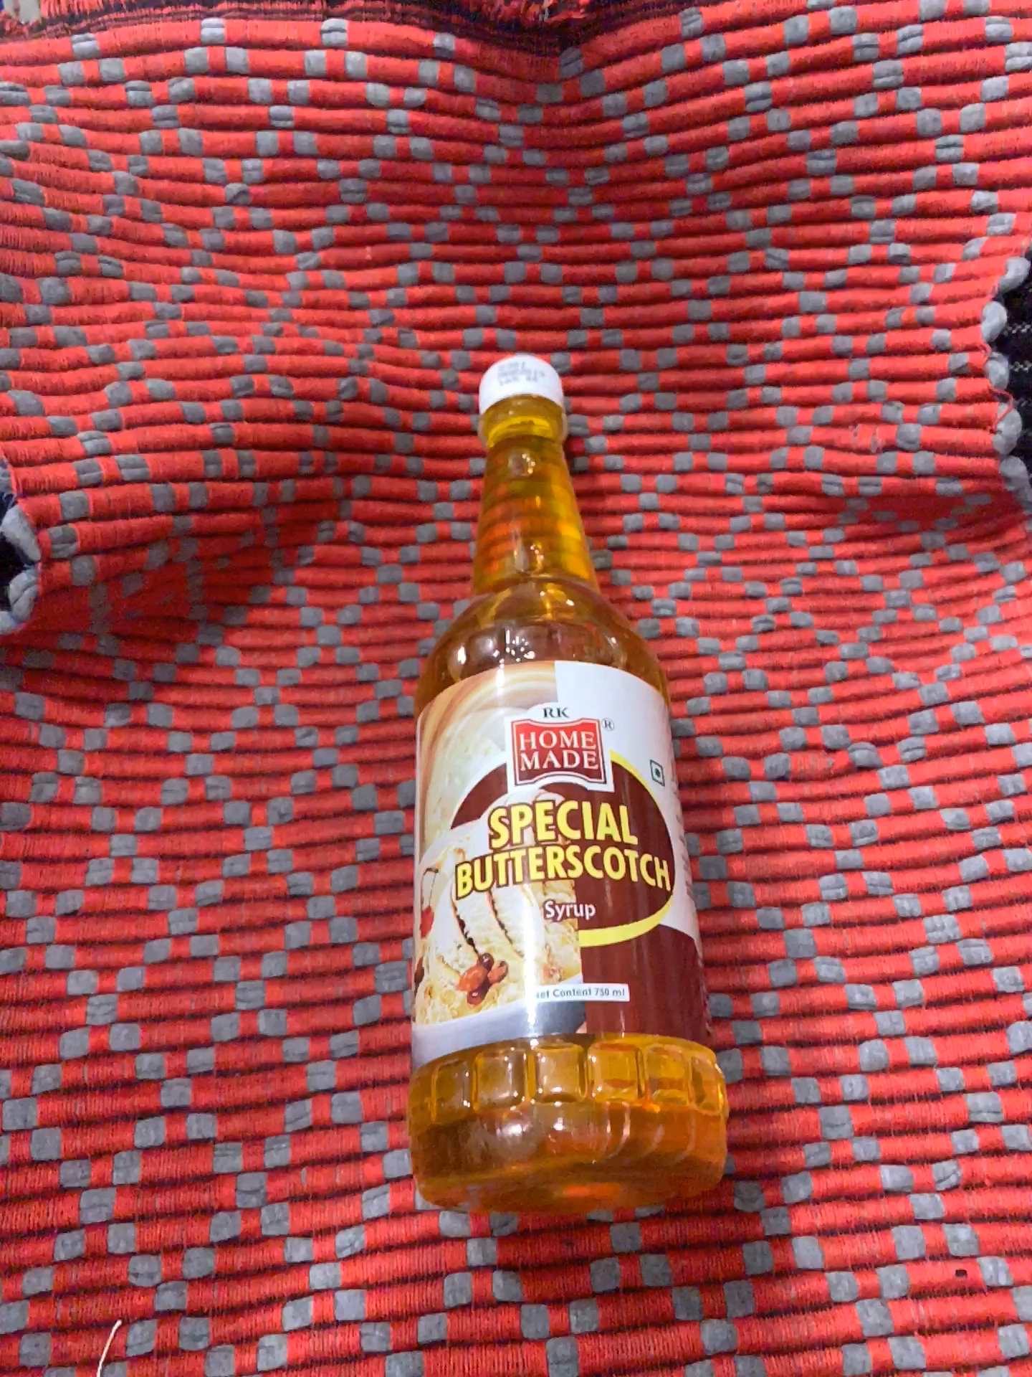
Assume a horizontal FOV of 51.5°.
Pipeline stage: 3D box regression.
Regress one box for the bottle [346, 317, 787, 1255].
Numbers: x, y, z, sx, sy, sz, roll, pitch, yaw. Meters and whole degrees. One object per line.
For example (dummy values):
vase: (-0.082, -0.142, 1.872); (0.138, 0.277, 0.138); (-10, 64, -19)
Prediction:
bottle: (0.006, 0.004, 0.296); (0.080, 0.060, 0.261); (-4, 53, 2)
